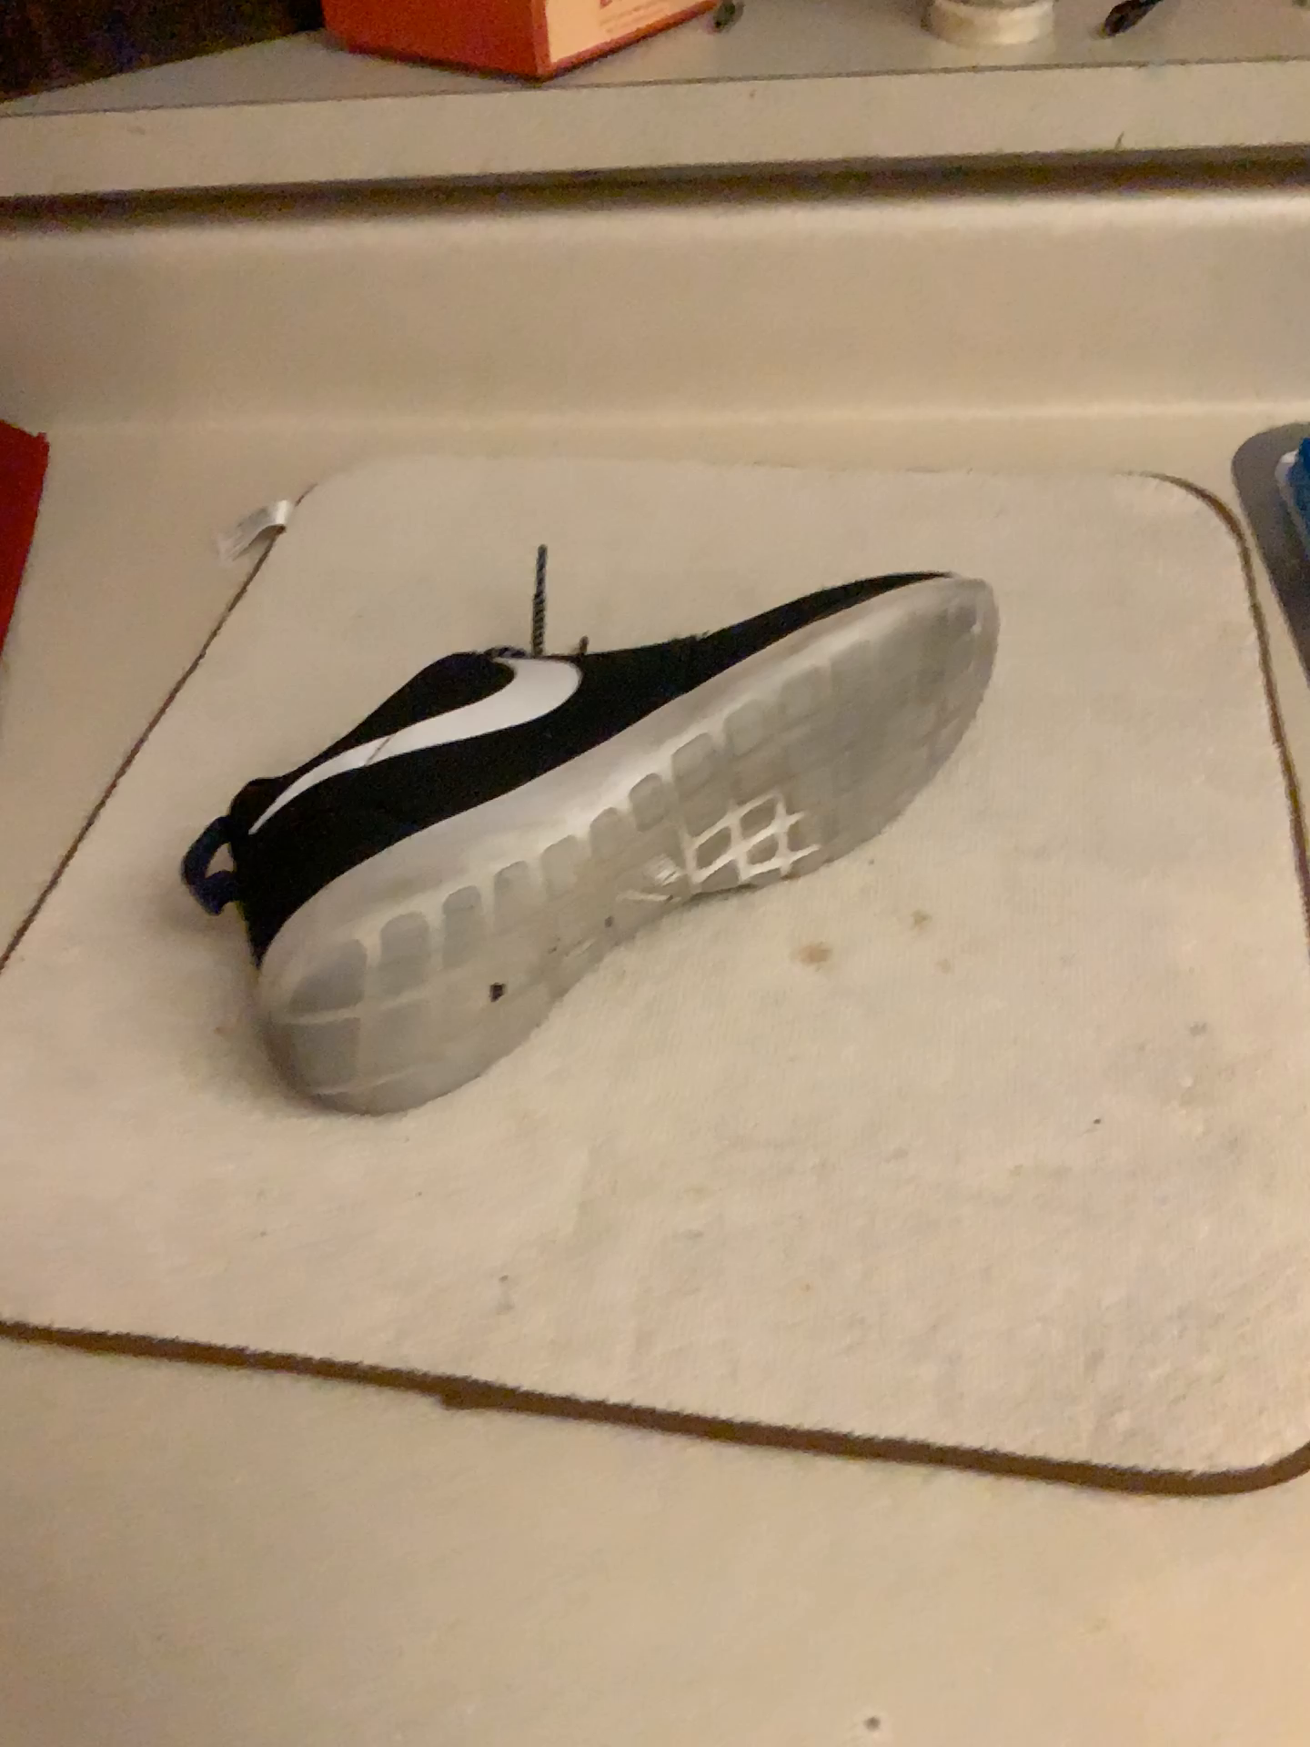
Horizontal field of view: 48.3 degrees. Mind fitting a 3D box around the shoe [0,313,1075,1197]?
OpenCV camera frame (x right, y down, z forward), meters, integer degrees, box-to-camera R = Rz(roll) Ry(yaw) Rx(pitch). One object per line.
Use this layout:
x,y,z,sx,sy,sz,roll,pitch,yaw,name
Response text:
-0.035,-0.058,0.468,0.270,0.100,0.180,-30,51,-22,shoe
